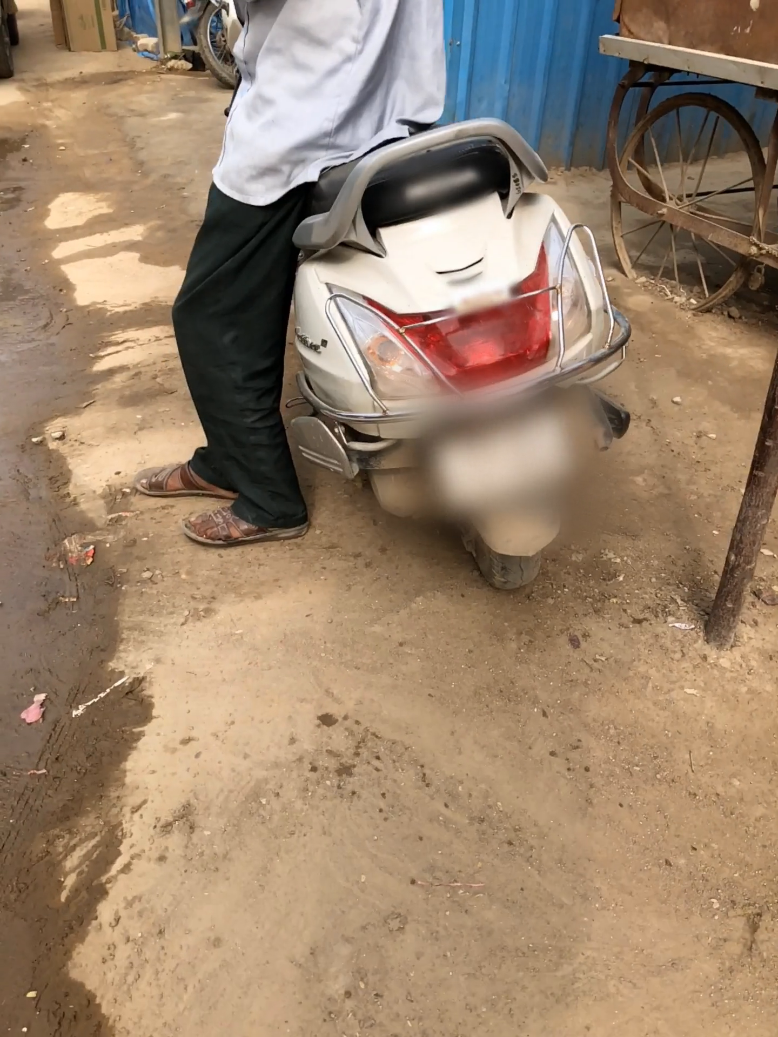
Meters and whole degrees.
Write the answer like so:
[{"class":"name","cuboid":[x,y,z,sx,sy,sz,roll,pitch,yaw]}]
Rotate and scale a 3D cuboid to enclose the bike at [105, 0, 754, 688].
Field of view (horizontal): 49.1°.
[{"class":"bike","cuboid":[-0.162,-0.628,1.809,0.656,1.112,1.583,-8,34,-14]}]
